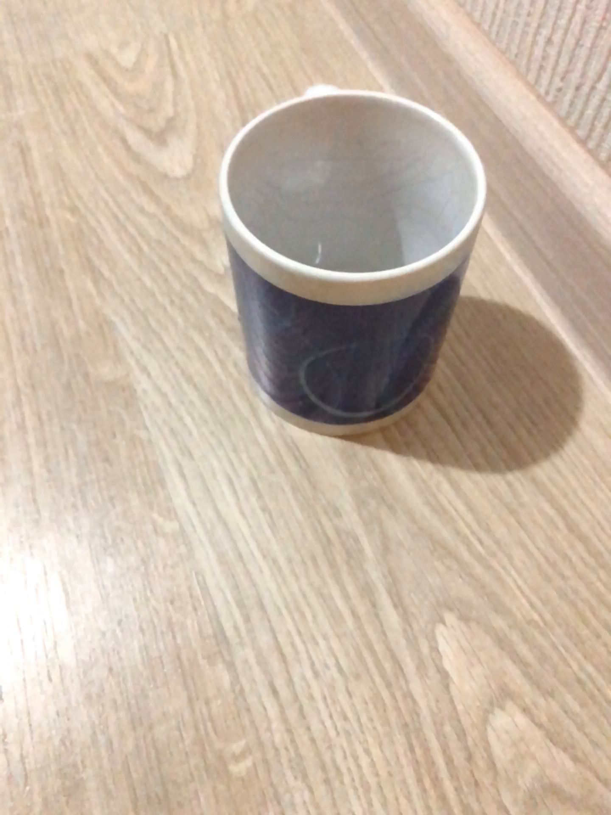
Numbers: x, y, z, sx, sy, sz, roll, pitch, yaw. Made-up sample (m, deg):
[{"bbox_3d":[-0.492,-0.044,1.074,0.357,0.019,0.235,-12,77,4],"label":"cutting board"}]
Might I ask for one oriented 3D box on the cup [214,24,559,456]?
[{"bbox_3d":[0.019,-0.062,0.264,0.093,0.099,0.123,-5,61,-4],"label":"cup"}]
